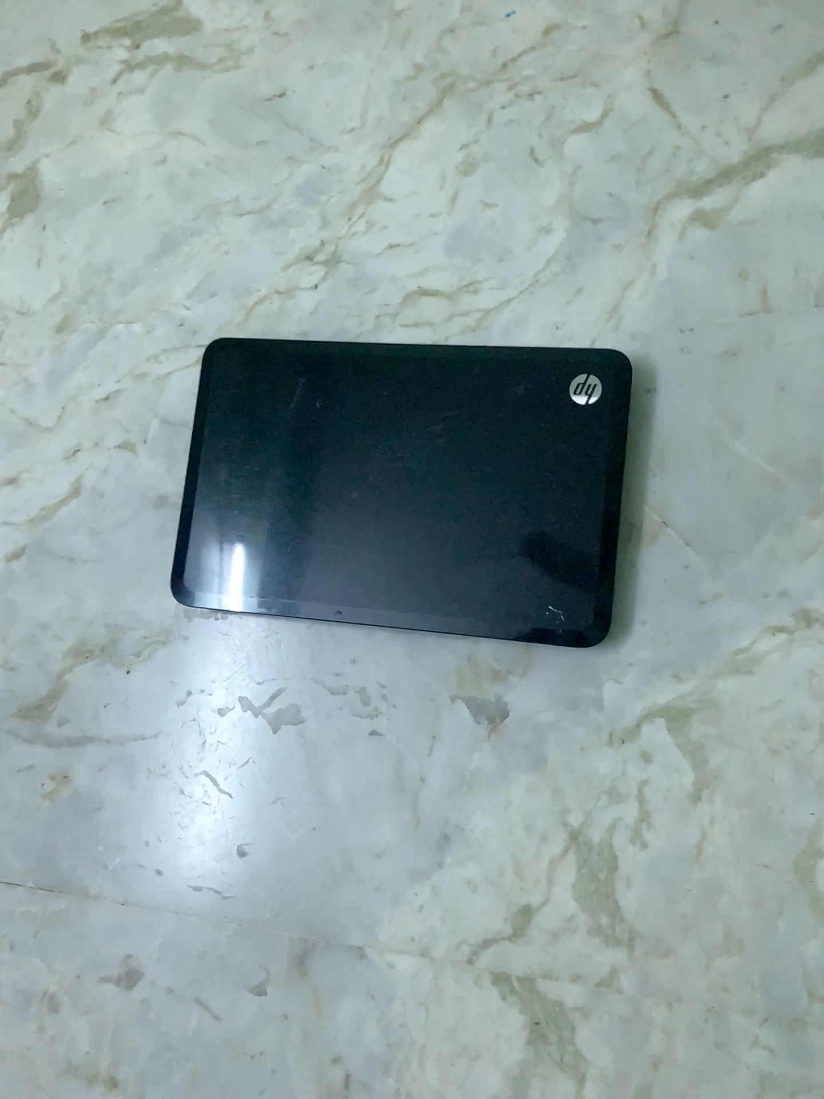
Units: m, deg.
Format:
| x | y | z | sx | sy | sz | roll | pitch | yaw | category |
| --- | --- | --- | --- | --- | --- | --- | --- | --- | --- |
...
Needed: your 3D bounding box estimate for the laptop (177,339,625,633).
| x | y | z | sx | sy | sz | roll | pitch | yaw | category |
| --- | --- | --- | --- | --- | --- | --- | --- | --- | --- |
| -0.009 | -0.060 | 0.667 | 0.333 | 0.022 | 0.221 | 4 | 75 | 13 | laptop |
